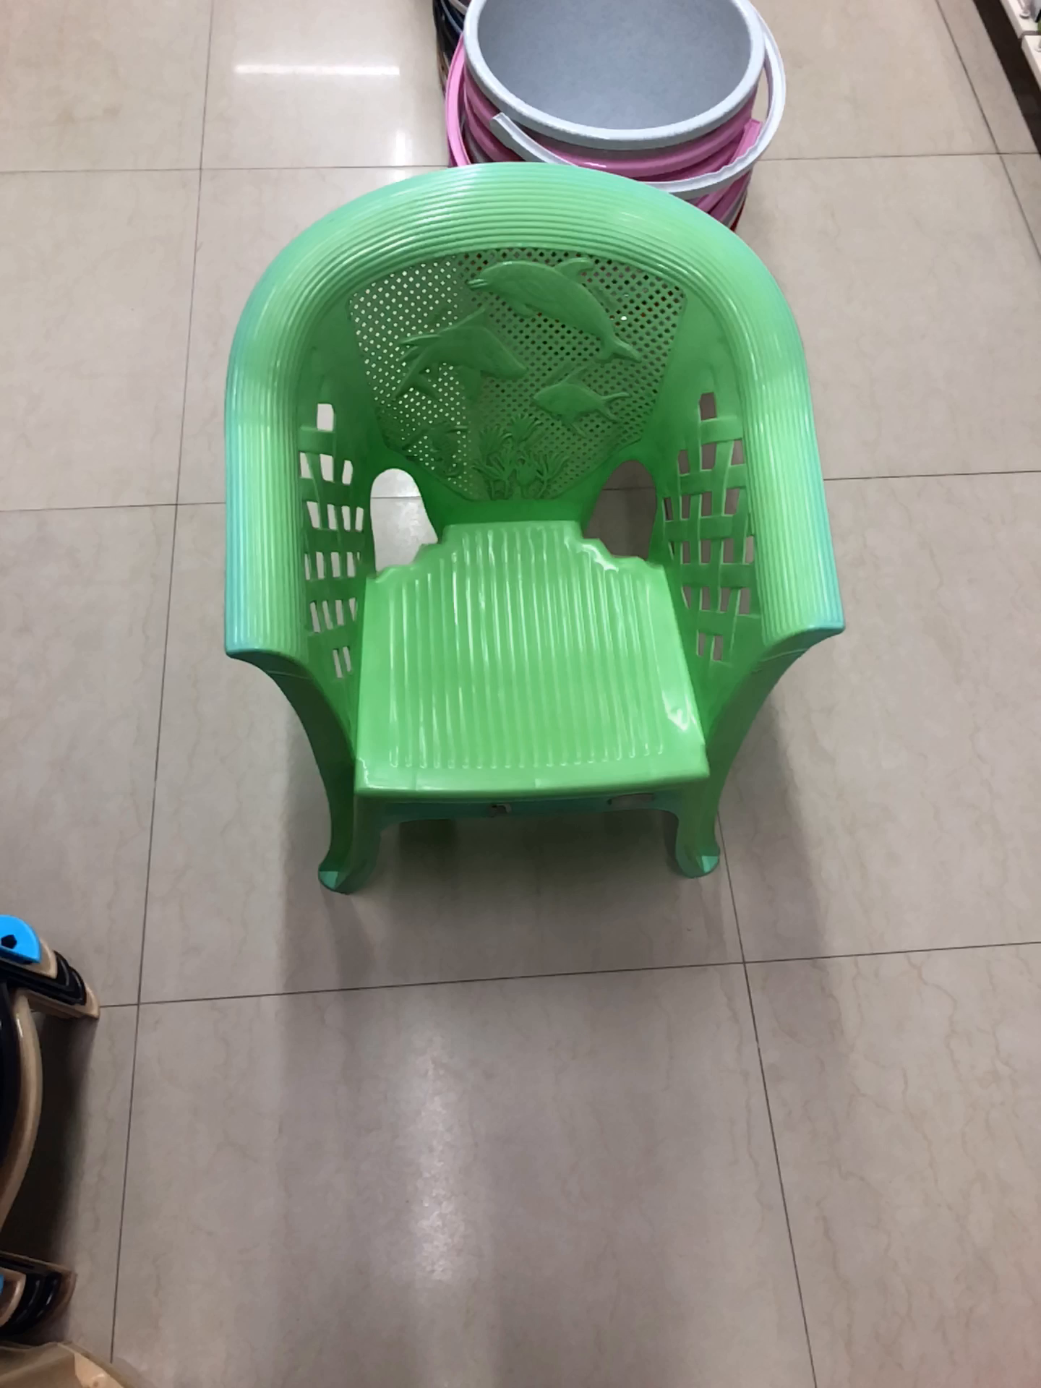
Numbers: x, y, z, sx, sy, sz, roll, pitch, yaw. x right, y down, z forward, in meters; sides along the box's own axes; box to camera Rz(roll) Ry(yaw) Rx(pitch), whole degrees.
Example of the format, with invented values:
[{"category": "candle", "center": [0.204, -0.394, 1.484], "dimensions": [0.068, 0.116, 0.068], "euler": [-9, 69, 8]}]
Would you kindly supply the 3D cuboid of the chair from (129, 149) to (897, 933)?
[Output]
[{"category": "chair", "center": [-0.020, -0.104, 0.924], "dimensions": [0.430, 0.399, 0.472], "euler": [-2, 63, -3]}]
